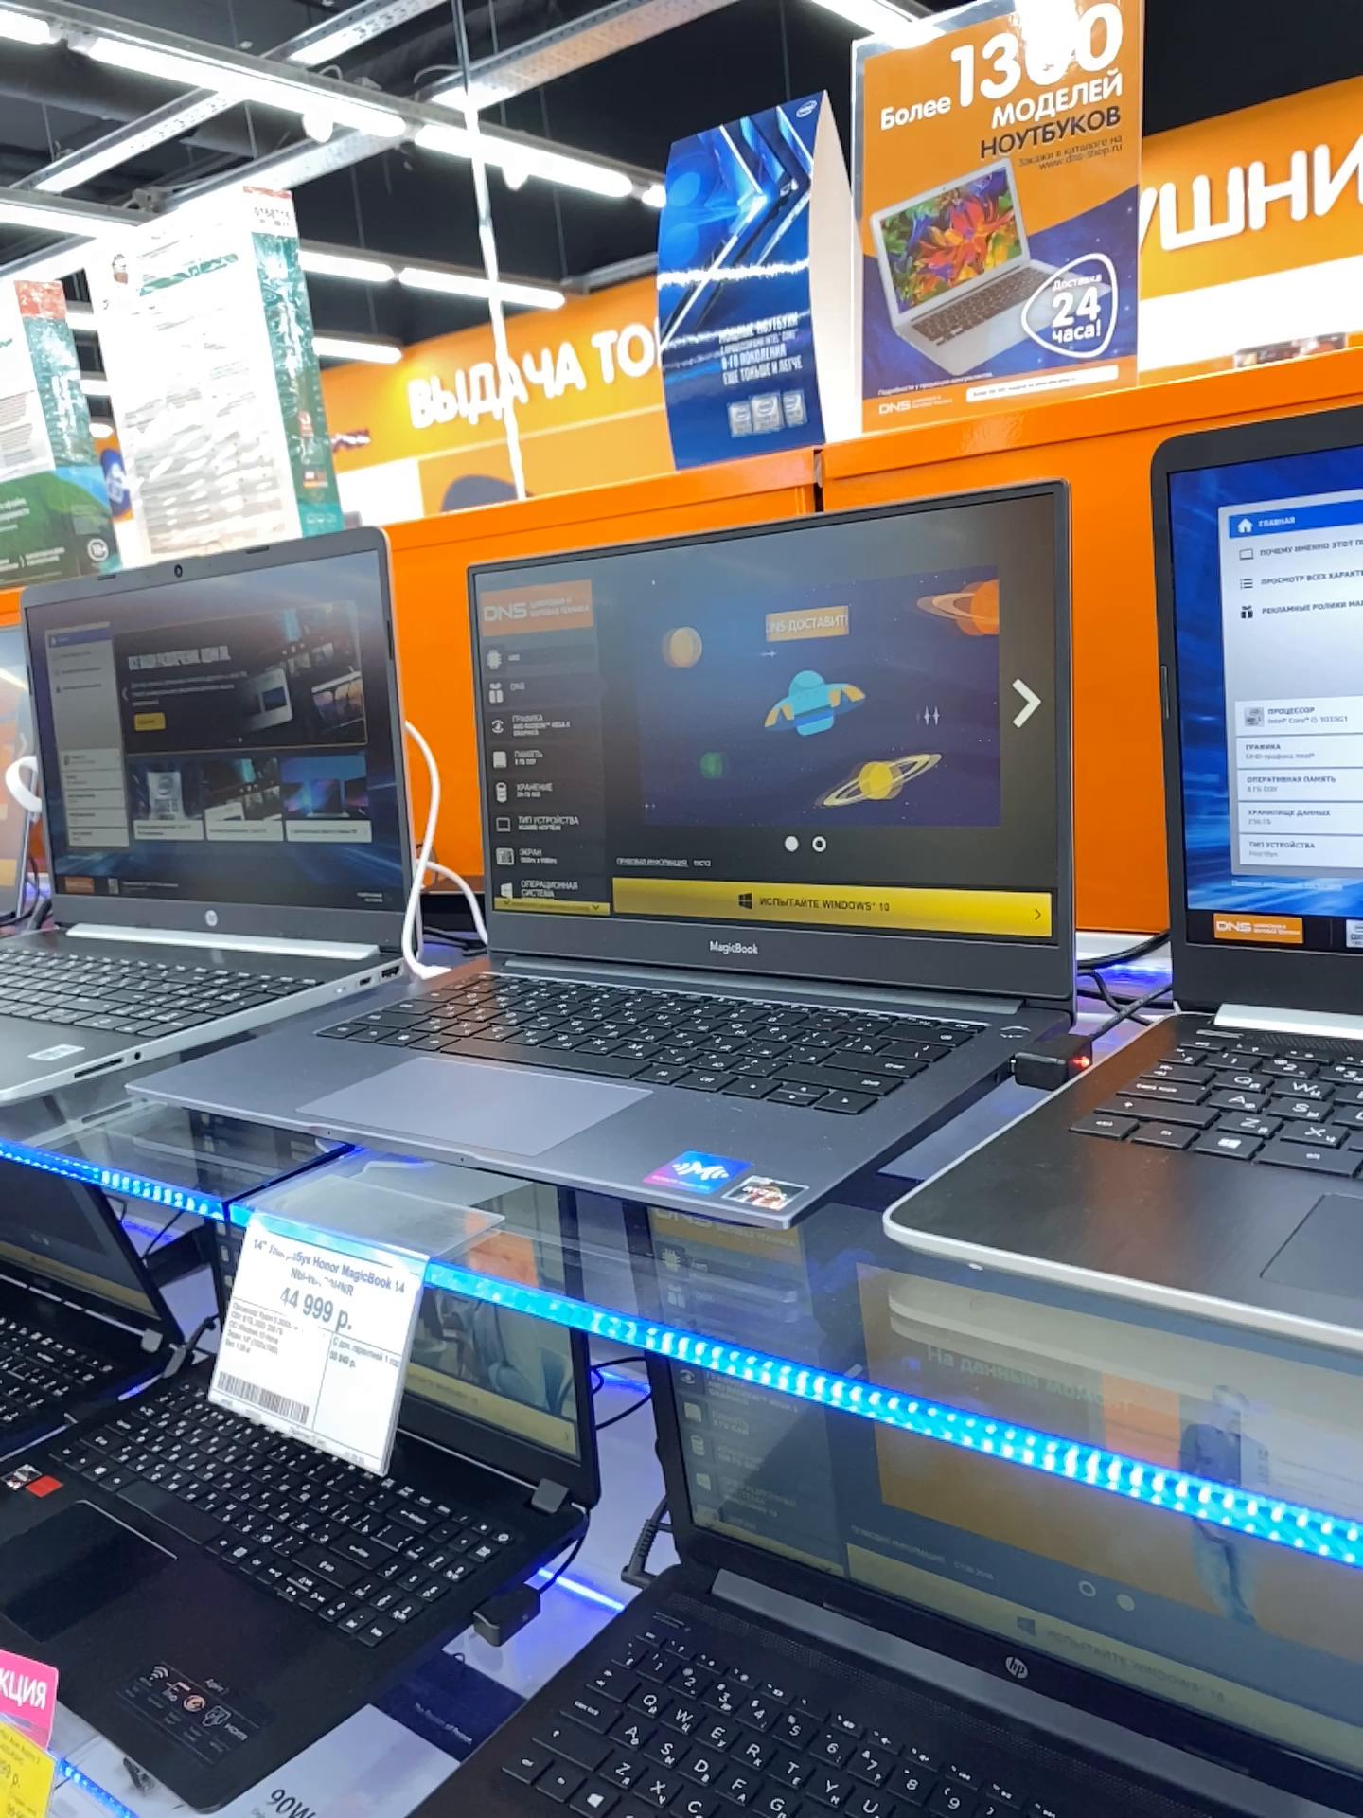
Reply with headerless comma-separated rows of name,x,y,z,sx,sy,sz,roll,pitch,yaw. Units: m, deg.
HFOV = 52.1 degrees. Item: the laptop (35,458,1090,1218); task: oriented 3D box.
laptop,-0.042,-0.045,0.558,0.324,0.203,0.237,2,13,36
